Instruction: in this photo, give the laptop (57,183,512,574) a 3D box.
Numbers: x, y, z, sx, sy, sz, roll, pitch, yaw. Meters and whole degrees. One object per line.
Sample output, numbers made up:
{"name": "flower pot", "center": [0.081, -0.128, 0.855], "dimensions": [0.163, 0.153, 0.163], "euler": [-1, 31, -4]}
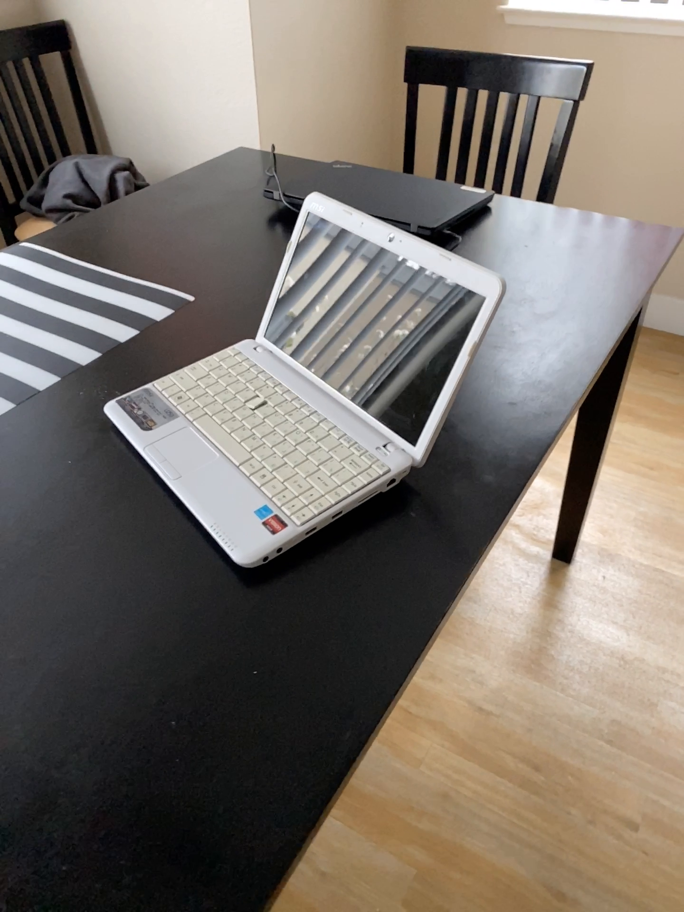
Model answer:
{"name": "laptop", "center": [-0.060, -0.105, 0.676], "dimensions": [0.301, 0.153, 0.295], "euler": [-30, 47, -25]}
